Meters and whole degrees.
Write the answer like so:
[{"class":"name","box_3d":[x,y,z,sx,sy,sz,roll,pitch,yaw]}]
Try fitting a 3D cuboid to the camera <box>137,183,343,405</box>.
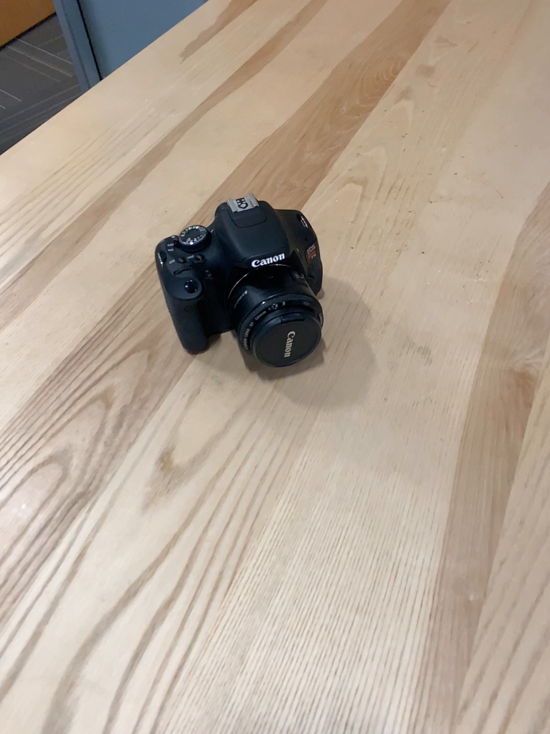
[{"class":"camera","box_3d":[-0.027,-0.058,0.437,0.120,0.094,0.112,-17,52,-10]}]
